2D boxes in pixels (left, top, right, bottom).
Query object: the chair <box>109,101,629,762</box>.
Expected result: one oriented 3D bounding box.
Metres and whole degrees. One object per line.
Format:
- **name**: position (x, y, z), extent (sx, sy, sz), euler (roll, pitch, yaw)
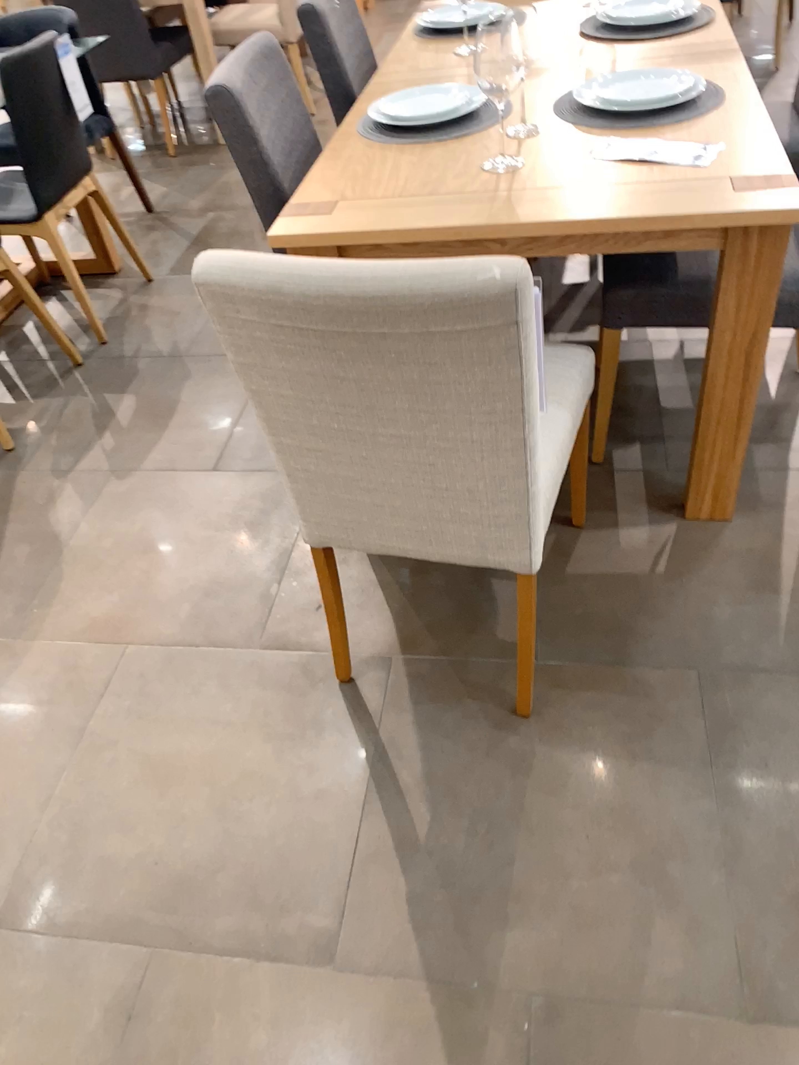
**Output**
- **chair**: position (0.054, -0.173, 1.388), extent (0.537, 0.838, 0.648), euler (7, 44, 18)
